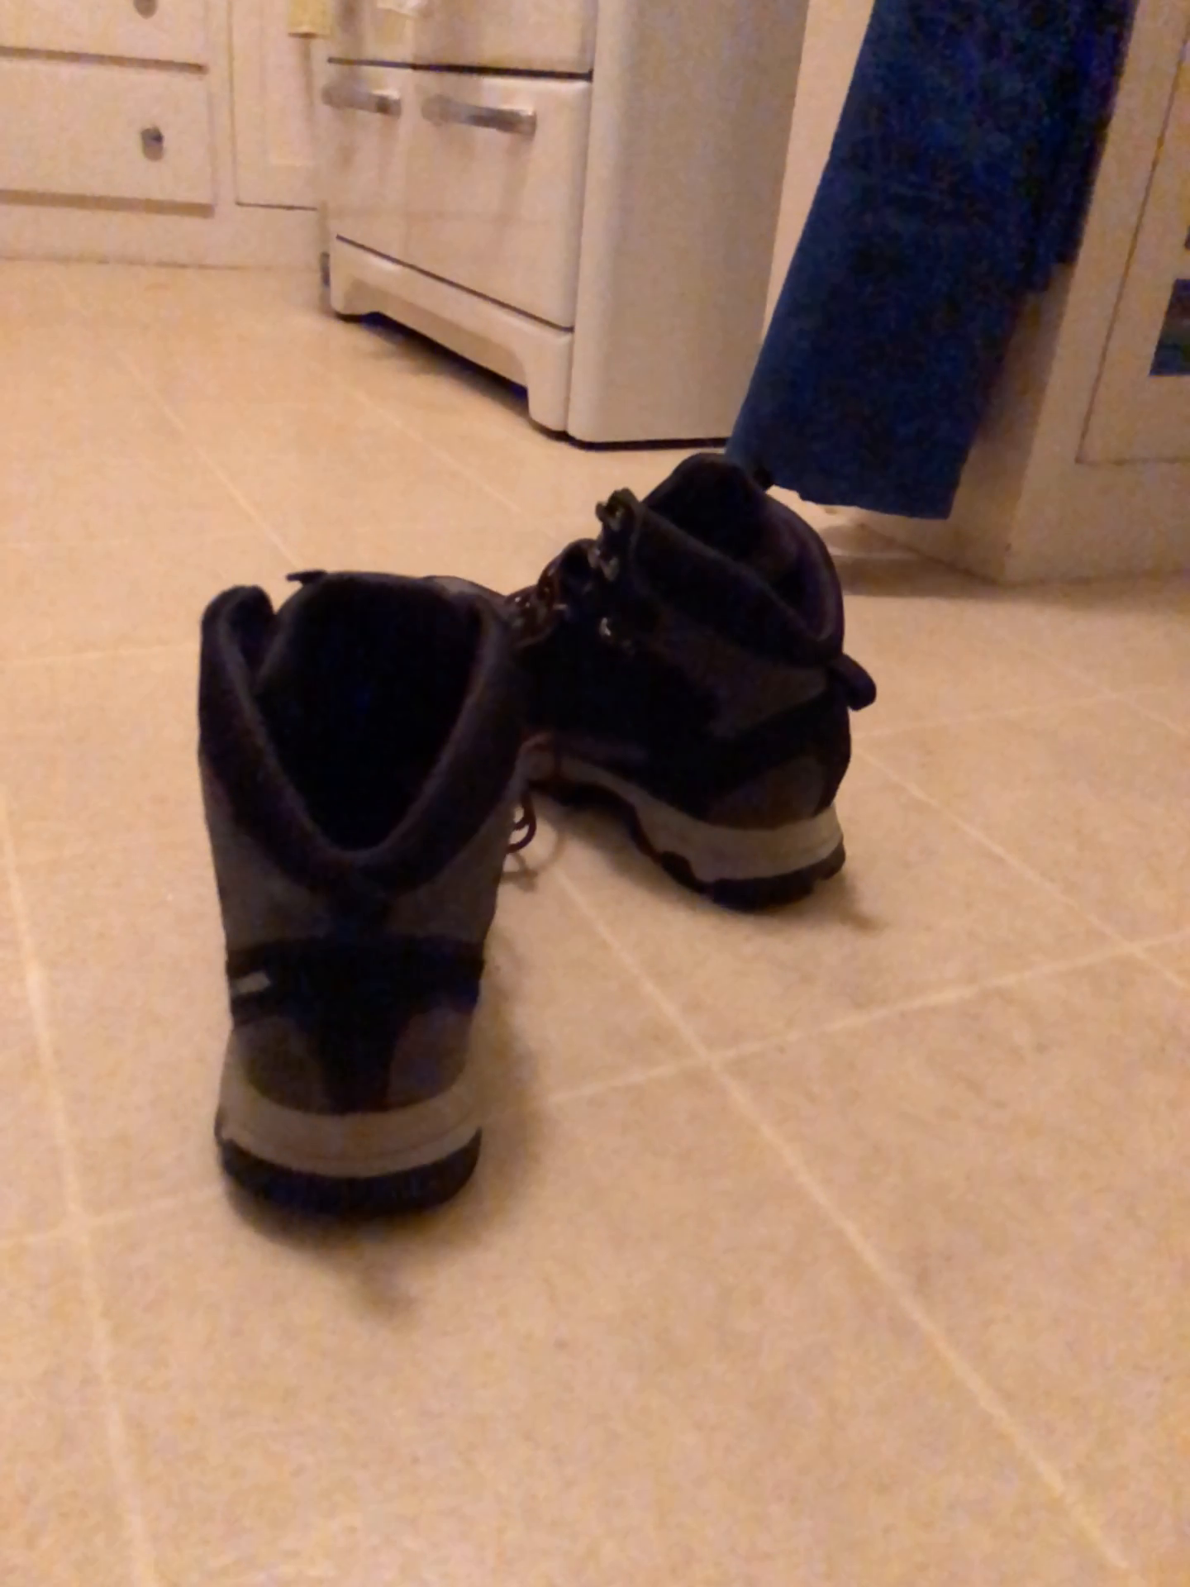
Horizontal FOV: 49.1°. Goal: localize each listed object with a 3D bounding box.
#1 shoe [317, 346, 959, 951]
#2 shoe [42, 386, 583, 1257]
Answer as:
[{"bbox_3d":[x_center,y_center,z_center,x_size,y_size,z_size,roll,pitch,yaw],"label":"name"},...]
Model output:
[{"bbox_3d":[-0.001,-0.091,0.648,0.300,0.195,0.116,28,34,36],"label":"shoe"},{"bbox_3d":[-0.087,-0.018,0.490,0.126,0.195,0.311,2,28,-7],"label":"shoe"}]
